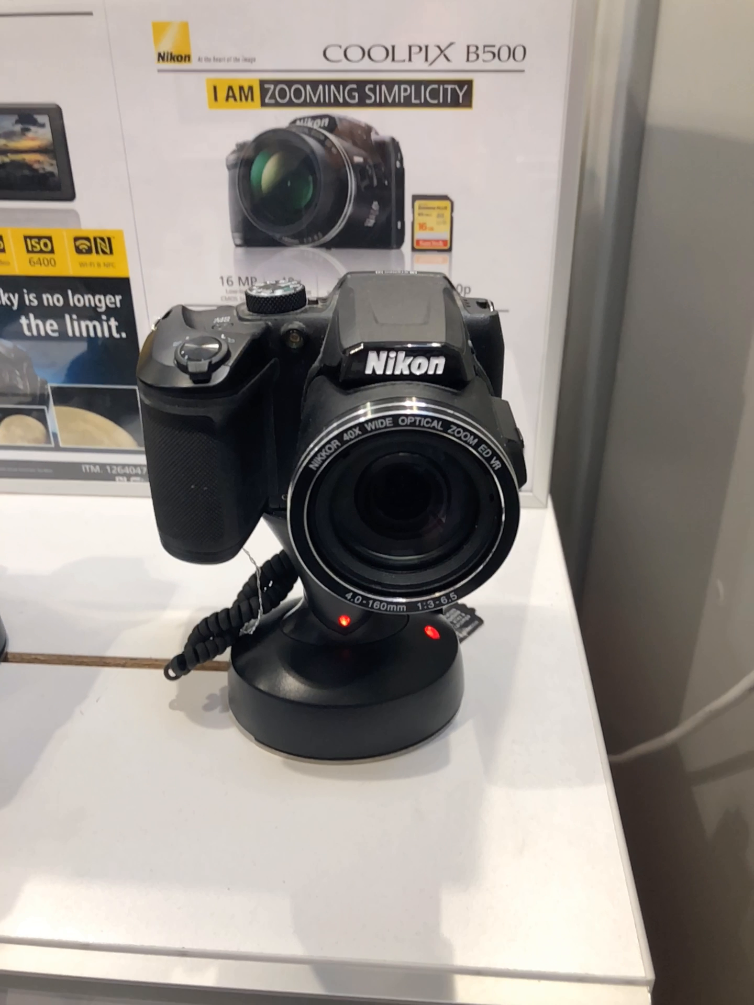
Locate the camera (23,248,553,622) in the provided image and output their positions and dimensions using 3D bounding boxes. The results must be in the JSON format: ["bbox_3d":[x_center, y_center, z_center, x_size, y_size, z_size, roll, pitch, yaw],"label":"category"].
[{"bbox_3d":[-0.019,-0.024,0.247,0.120,0.079,0.091,0,28,1],"label":"camera"}]
